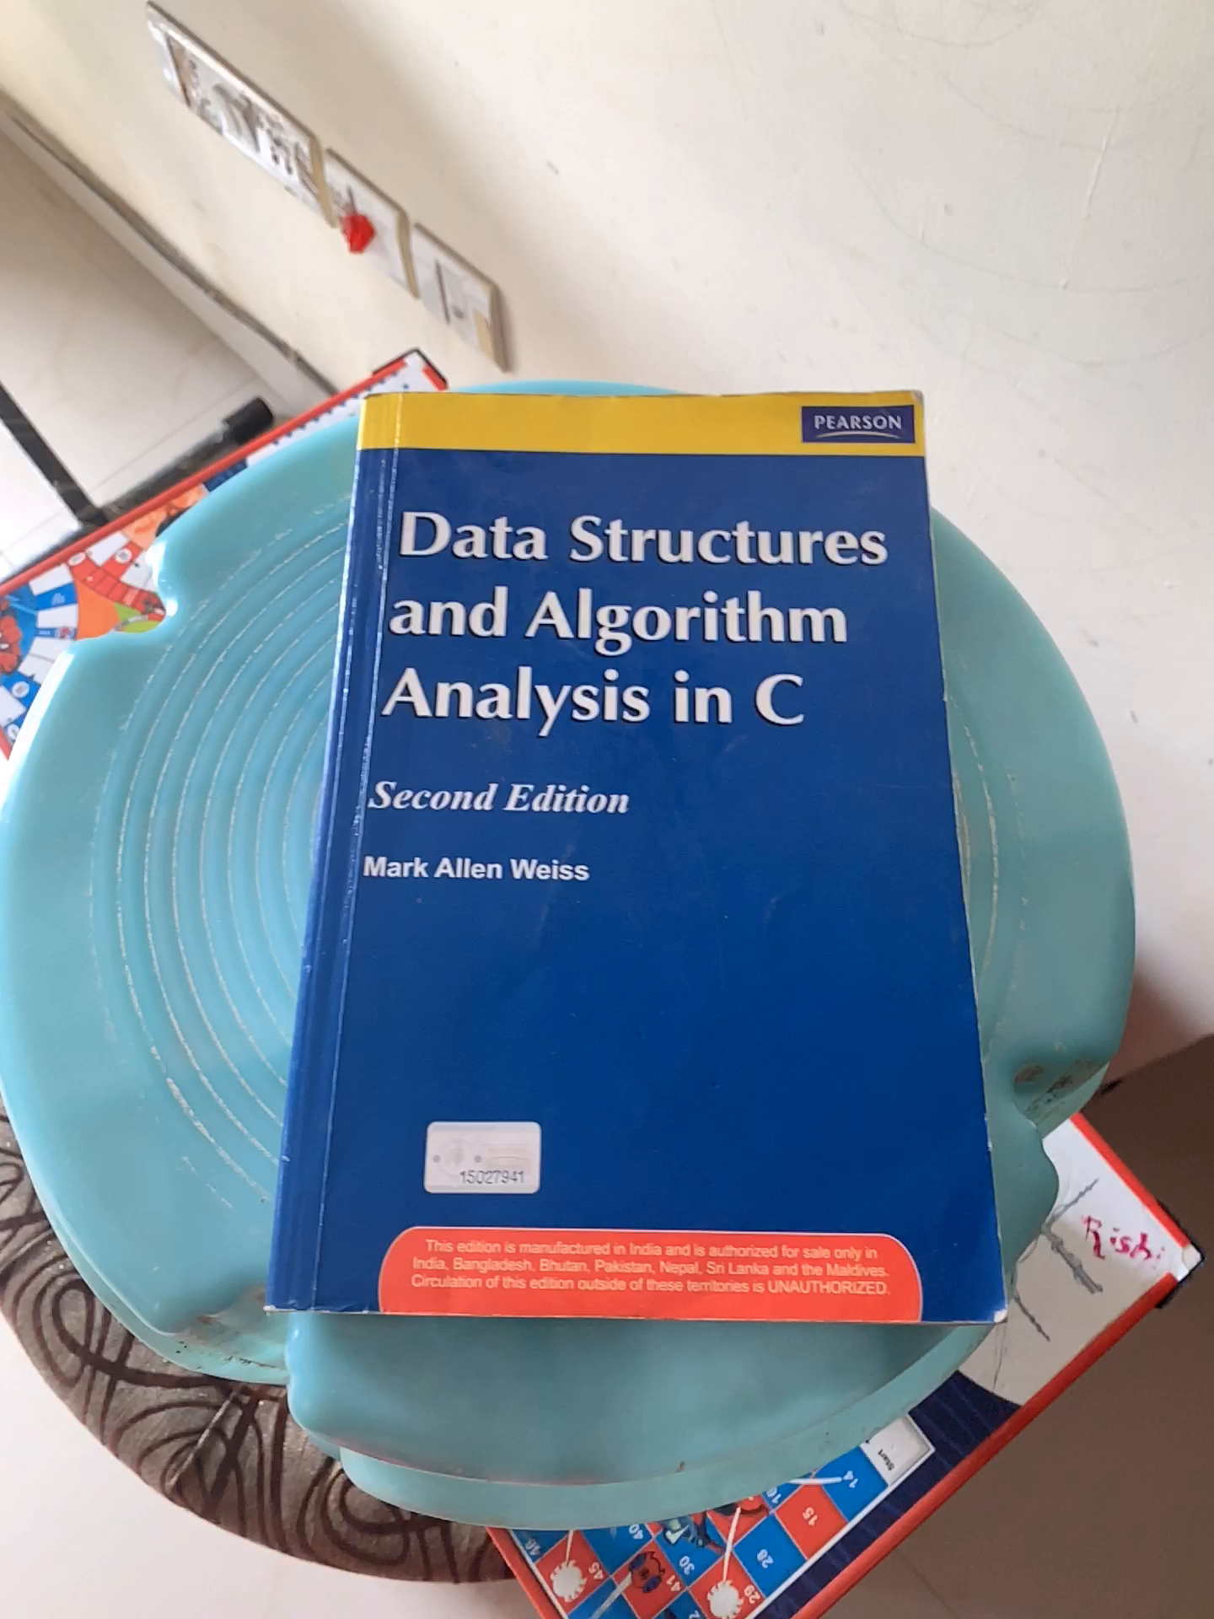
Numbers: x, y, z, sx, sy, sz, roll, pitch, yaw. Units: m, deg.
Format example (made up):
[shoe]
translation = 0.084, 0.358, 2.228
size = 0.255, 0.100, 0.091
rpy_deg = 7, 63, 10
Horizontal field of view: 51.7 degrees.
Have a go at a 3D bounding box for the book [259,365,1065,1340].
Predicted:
[book]
translation = 0.012, -0.002, 0.307
size = 0.160, 0.030, 0.241
rpy_deg = 0, 68, 0
